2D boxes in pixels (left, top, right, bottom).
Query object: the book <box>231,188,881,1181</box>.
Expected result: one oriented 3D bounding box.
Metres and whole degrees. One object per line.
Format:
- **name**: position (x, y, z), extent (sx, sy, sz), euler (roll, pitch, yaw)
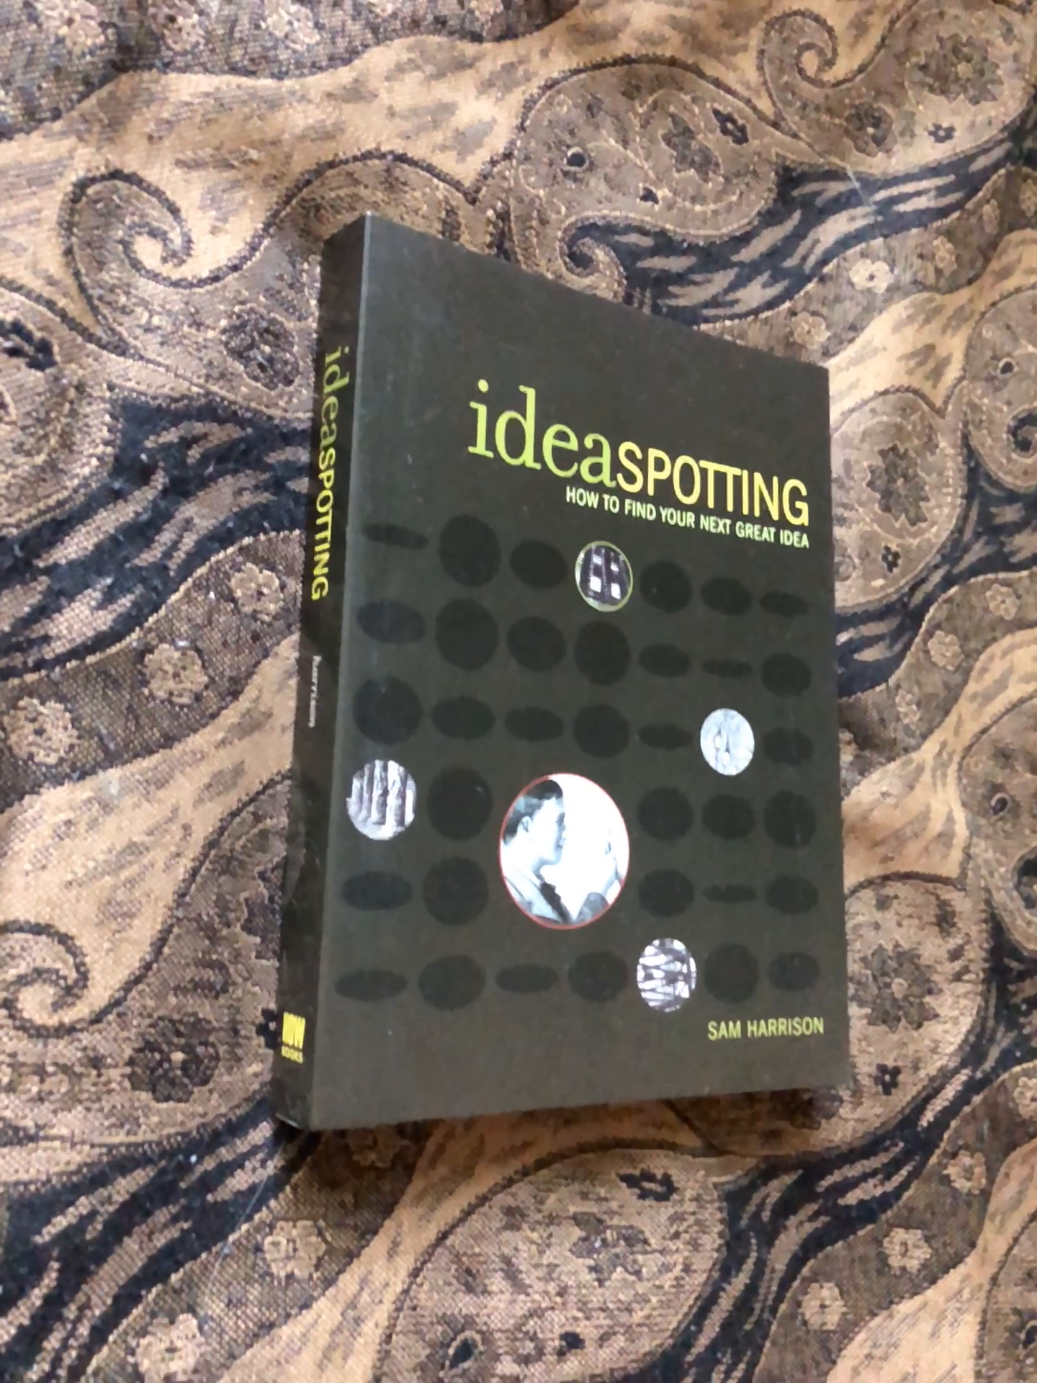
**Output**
- **book**: position (0.015, 0.002, 0.261), extent (0.141, 0.040, 0.180), euler (6, 80, -31)
